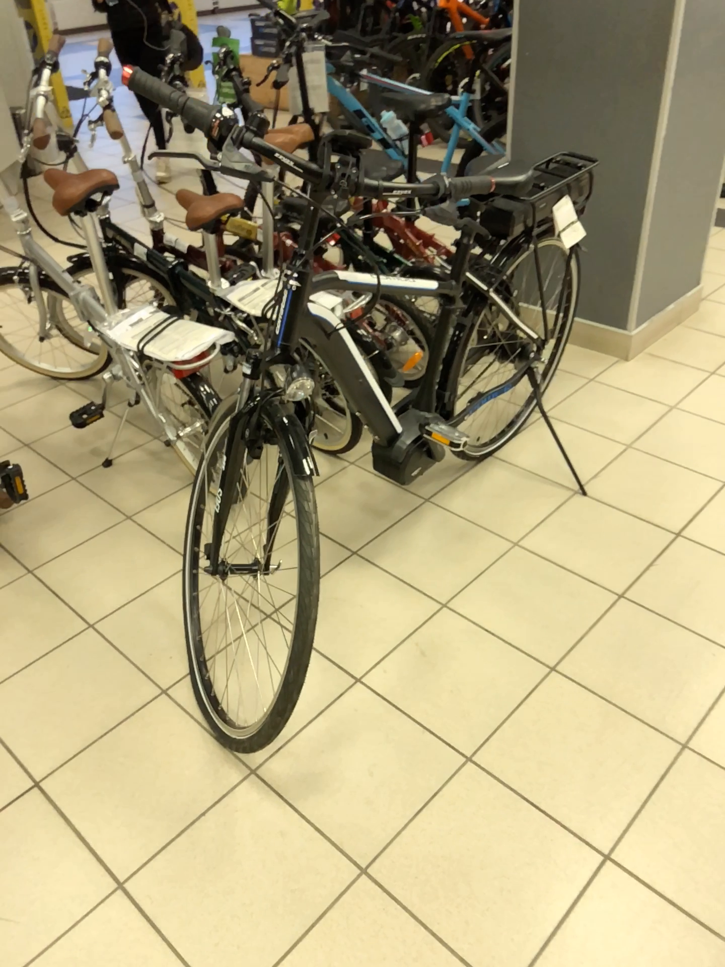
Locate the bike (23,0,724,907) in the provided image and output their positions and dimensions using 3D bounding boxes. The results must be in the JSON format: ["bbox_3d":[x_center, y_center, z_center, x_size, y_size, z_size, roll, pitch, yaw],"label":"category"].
[{"bbox_3d":[0.246,-0.288,1.786,0.697,1.176,1.619,15,40,25],"label":"bike"}]
